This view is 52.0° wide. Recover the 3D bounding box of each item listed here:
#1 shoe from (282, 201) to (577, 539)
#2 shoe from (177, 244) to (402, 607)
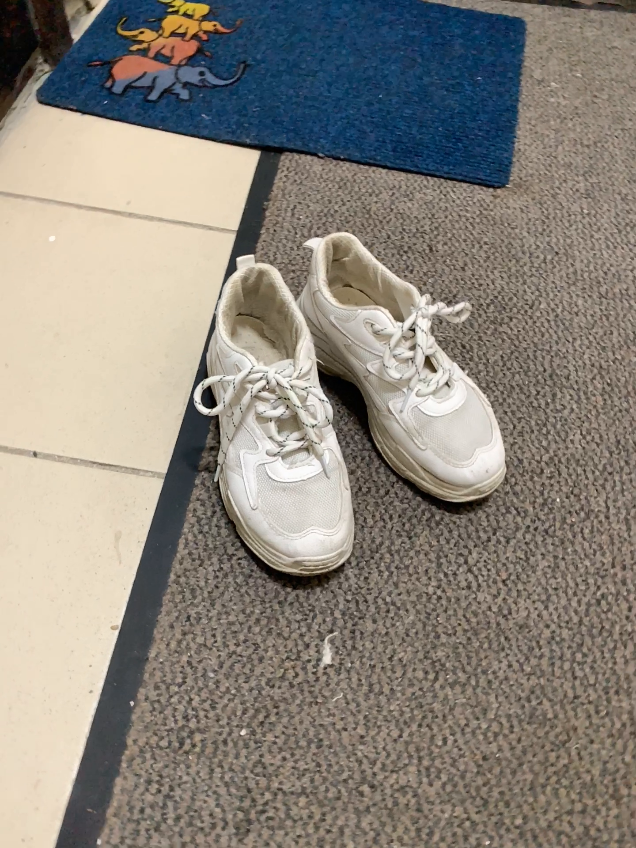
[{"bbox_3d":[0.073,-0.047,0.546,0.100,0.140,0.230,-28,63,-19],"label":"shoe"},{"bbox_3d":[-0.031,-0.001,0.510,0.100,0.140,0.231,-13,59,-10],"label":"shoe"}]
